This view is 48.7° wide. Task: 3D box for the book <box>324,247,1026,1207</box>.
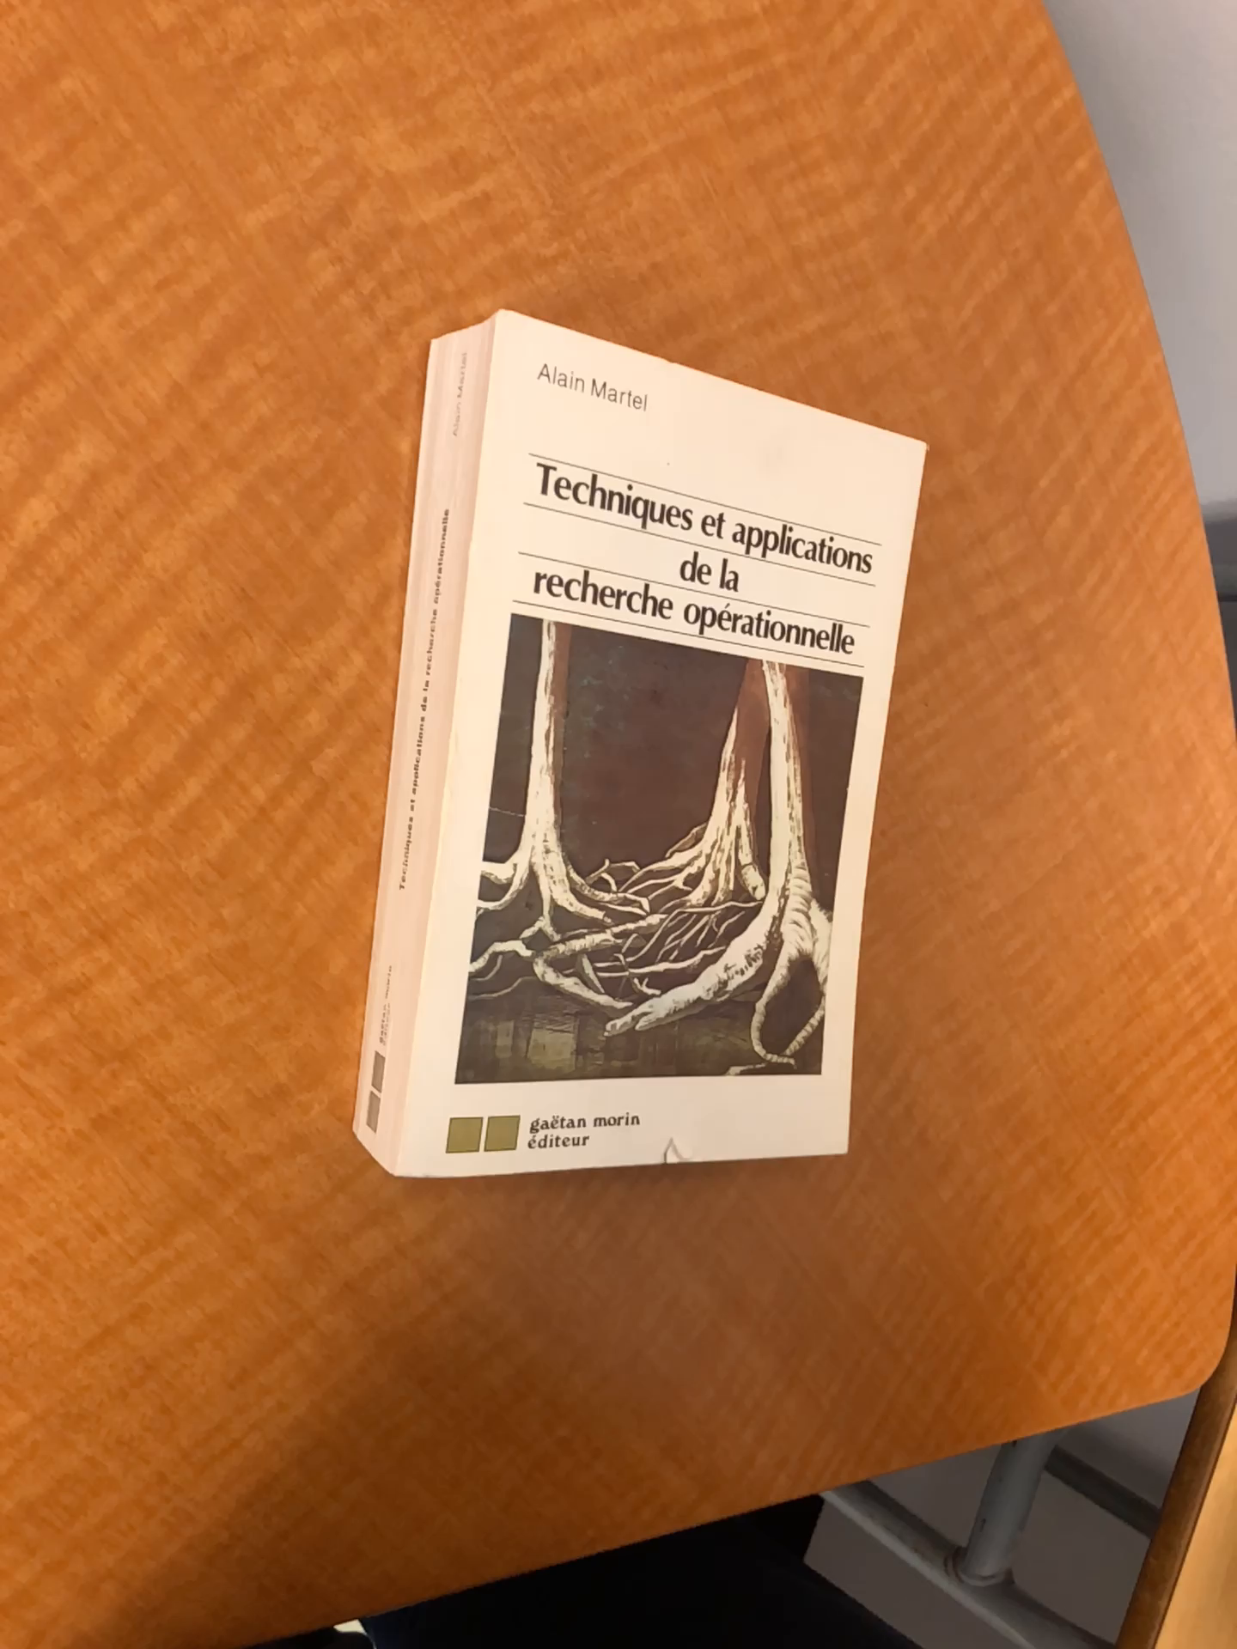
[{"bbox_3d":[0.020,-0.019,0.401,0.171,0.070,0.230,5,93,-33],"label":"book"}]
